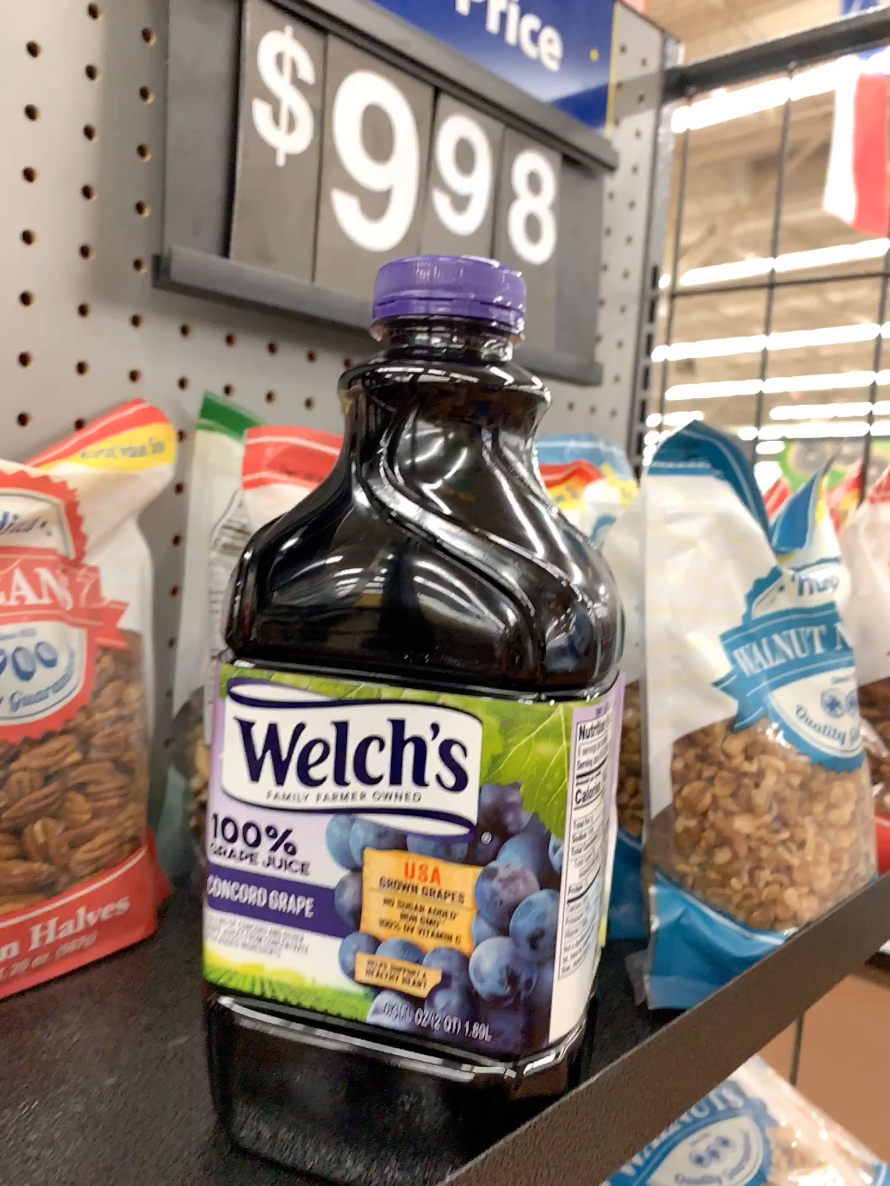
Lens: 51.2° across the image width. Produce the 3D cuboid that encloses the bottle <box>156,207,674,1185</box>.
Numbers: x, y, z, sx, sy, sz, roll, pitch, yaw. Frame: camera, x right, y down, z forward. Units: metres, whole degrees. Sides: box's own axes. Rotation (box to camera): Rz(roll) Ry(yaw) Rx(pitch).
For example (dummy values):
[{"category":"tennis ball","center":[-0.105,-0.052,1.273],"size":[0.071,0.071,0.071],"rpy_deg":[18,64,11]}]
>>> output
[{"category":"bottle","center":[-0.004,0.032,0.290],"size":[0.120,0.260,0.100],"rpy_deg":[5,5,19]}]
